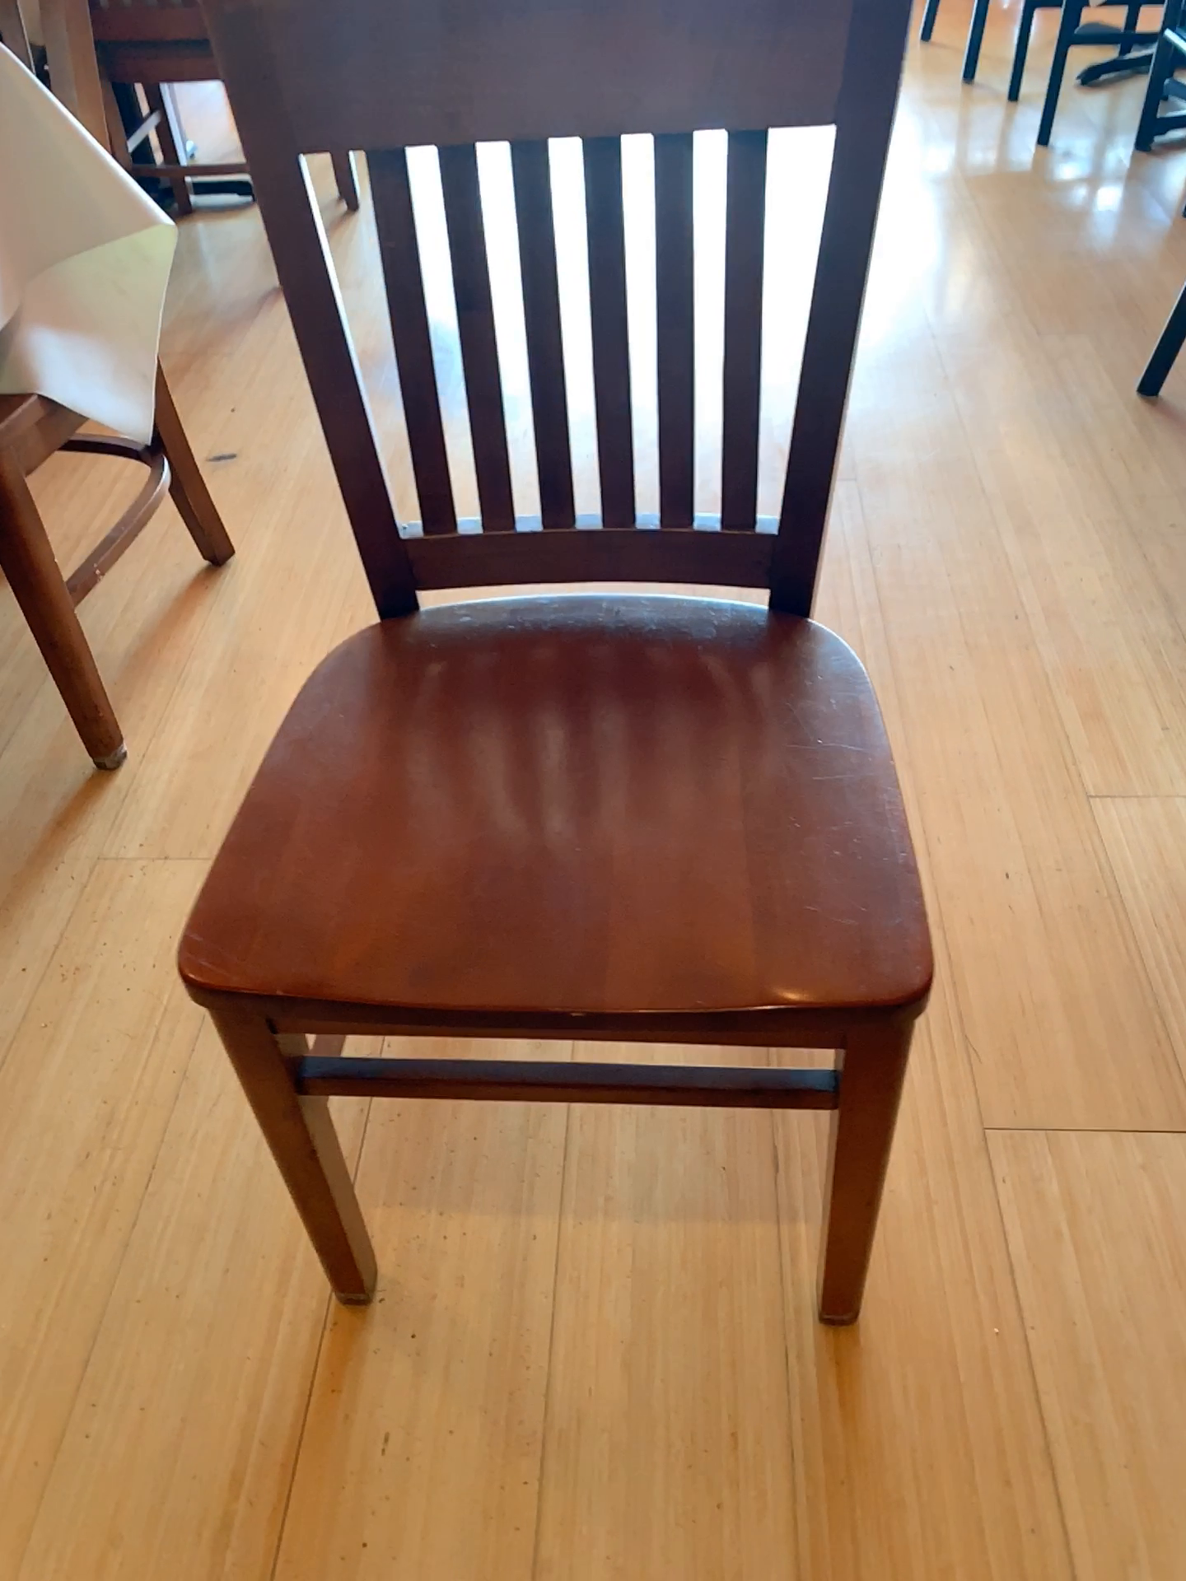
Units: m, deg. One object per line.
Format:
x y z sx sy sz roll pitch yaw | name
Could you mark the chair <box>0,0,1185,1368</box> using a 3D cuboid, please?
-0.004 -0.063 0.877 0.540 0.875 0.573 0 43 5 | chair
